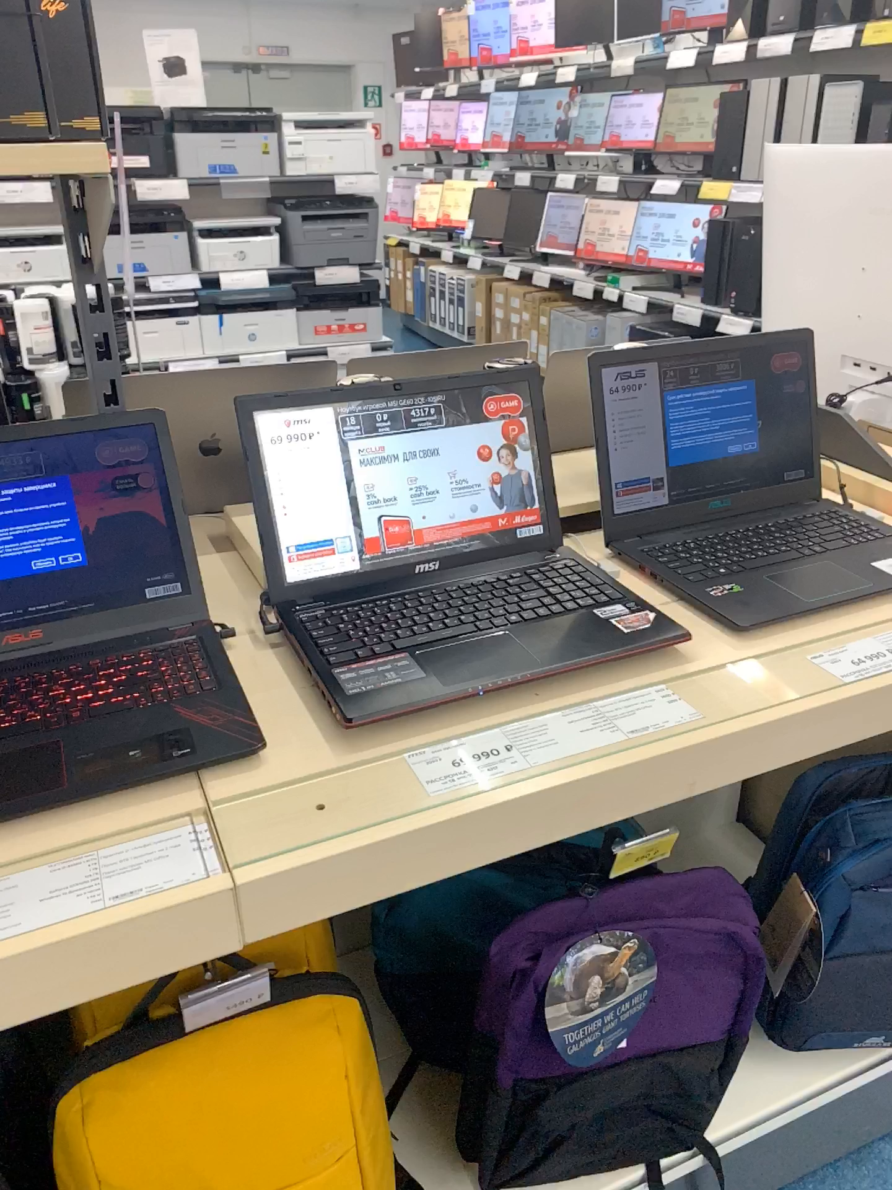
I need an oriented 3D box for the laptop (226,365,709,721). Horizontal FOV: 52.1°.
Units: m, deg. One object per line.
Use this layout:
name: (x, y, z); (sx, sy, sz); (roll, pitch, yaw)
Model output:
laptop: (0.007, -0.082, 0.909); (0.356, 0.197, 0.313); (-12, 29, -23)
